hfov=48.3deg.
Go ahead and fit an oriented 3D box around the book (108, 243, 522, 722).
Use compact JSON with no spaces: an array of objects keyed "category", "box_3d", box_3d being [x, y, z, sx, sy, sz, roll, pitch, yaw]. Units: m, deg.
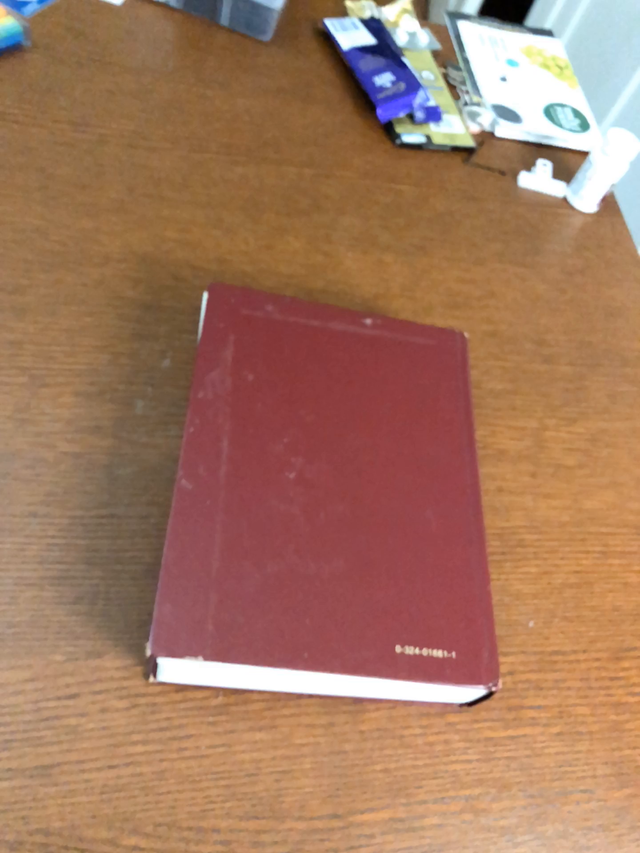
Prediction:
[{"category":"book","box_3d":[0.000,0.028,0.477,0.220,0.070,0.291,9,56,-11]}]
